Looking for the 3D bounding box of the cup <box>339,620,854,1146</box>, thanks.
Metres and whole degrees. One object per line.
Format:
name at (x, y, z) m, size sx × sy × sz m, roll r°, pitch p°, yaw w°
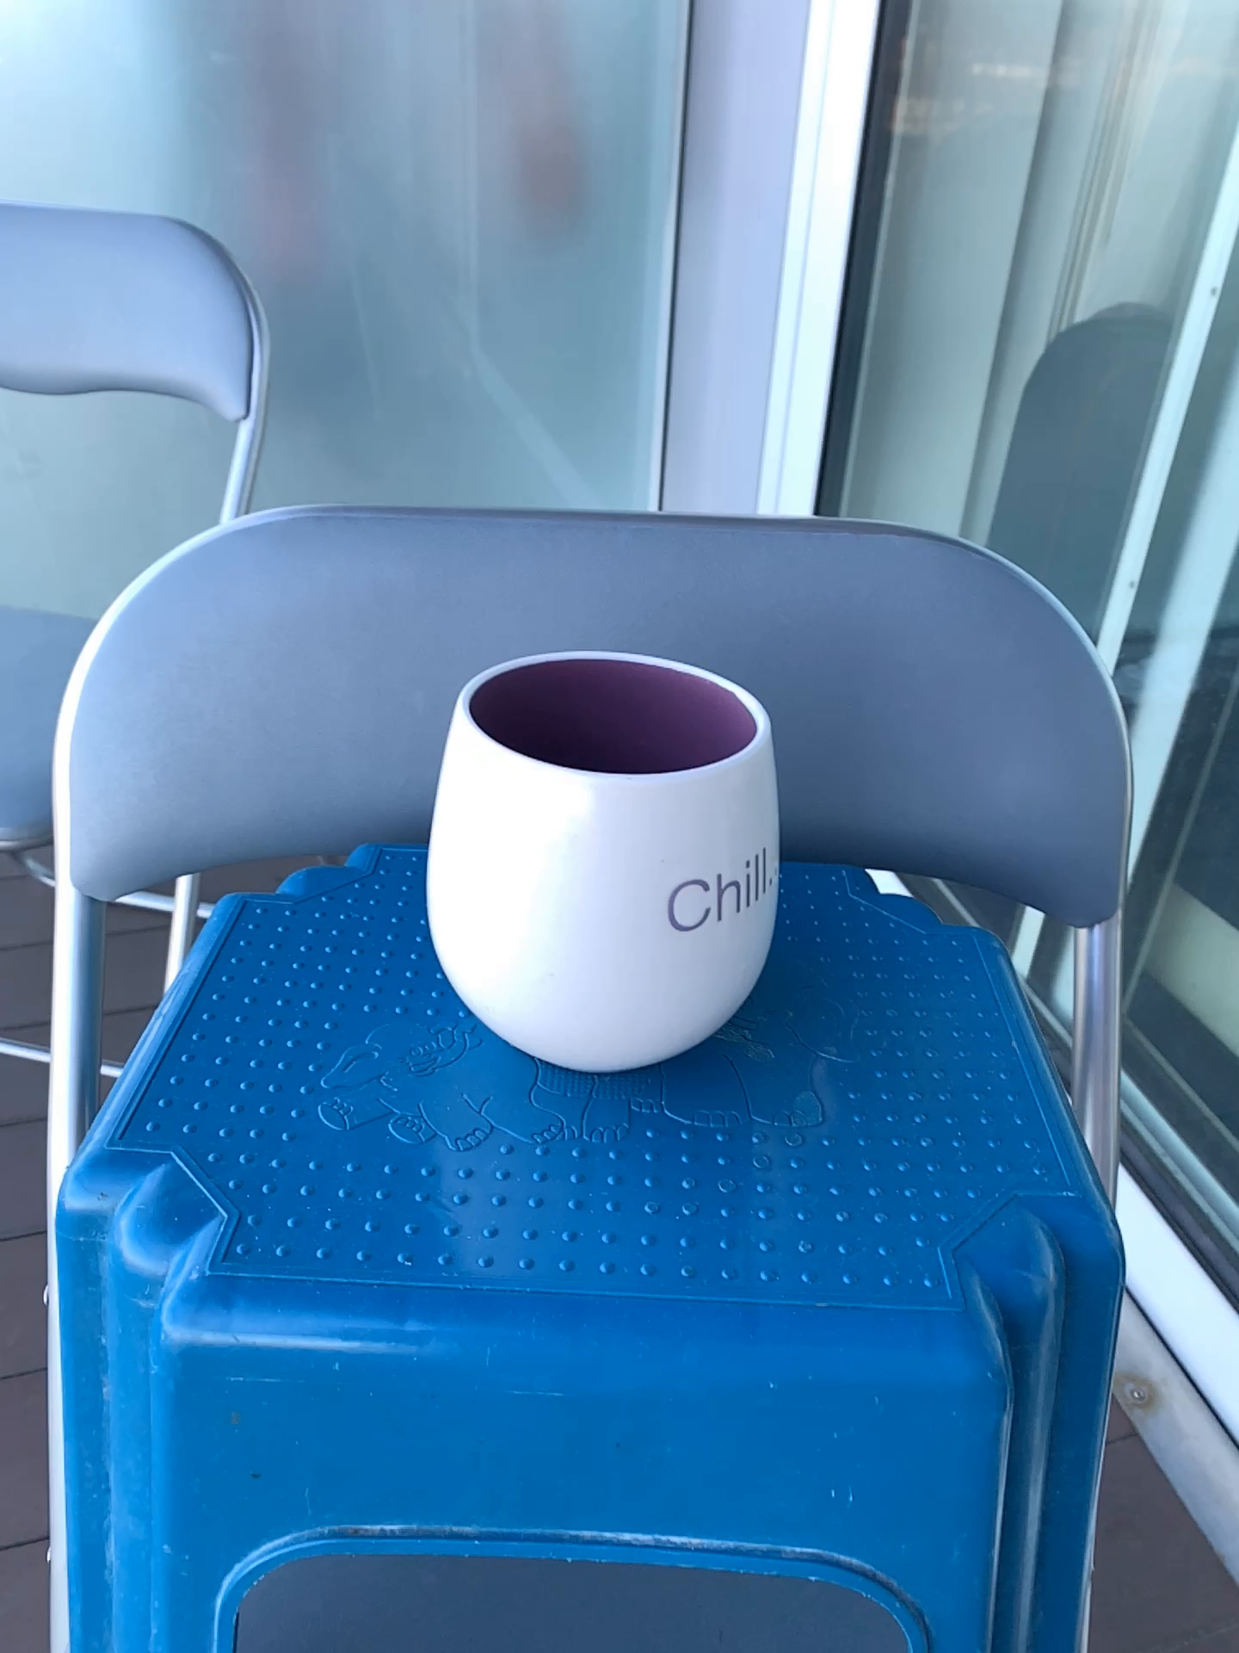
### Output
cup at (-0.006, 0.008, 0.384) m, size 0.105 × 0.090 × 0.111 m, roll 4°, pitch 30°, yaw -2°
